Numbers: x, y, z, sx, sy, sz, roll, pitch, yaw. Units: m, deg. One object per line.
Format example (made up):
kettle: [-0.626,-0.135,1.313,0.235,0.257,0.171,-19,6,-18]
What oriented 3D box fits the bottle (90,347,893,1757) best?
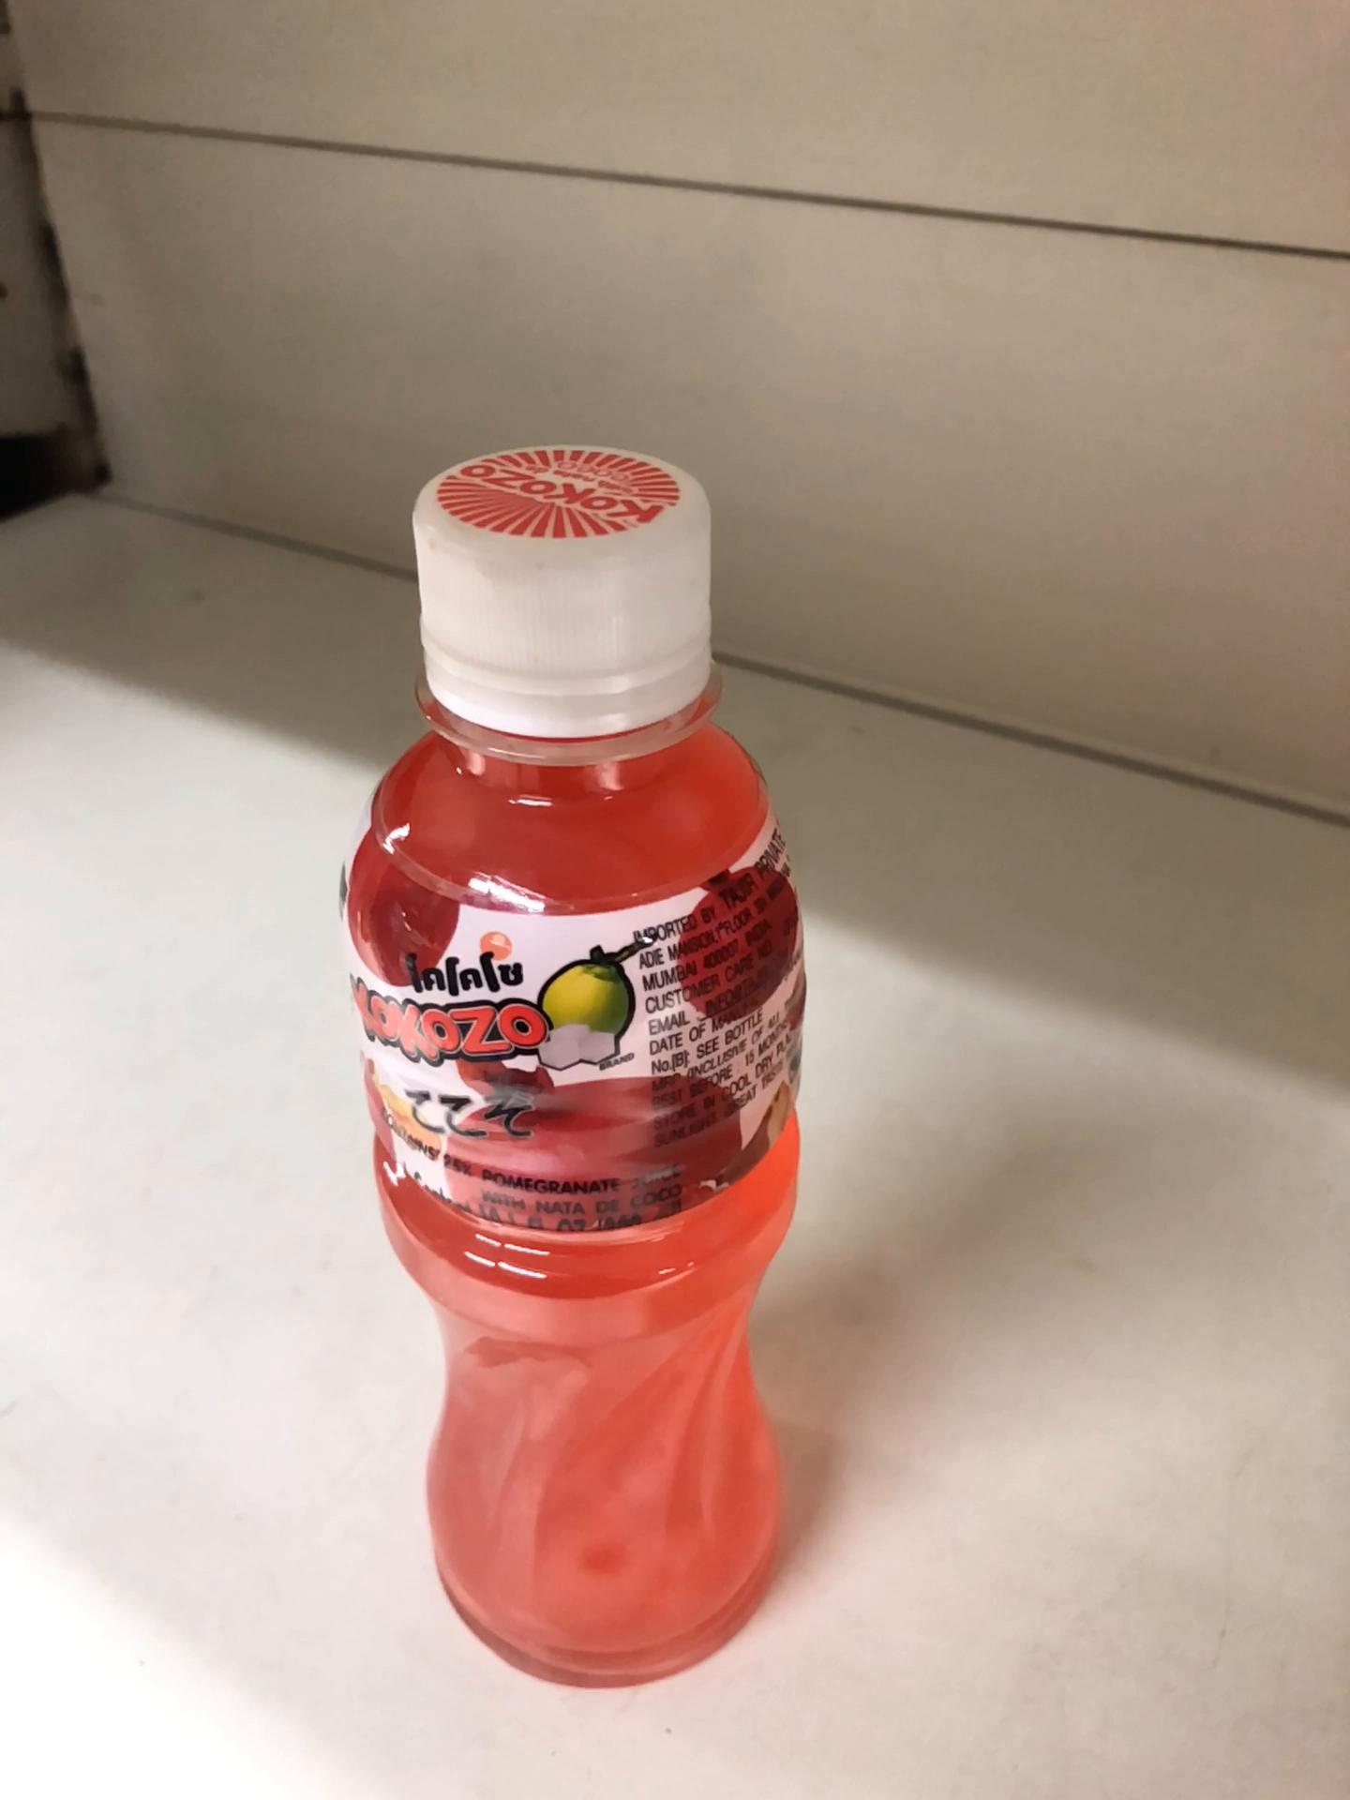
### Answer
bottle: [-0.016,0.027,0.191,0.060,0.169,0.050,13,34,18]
